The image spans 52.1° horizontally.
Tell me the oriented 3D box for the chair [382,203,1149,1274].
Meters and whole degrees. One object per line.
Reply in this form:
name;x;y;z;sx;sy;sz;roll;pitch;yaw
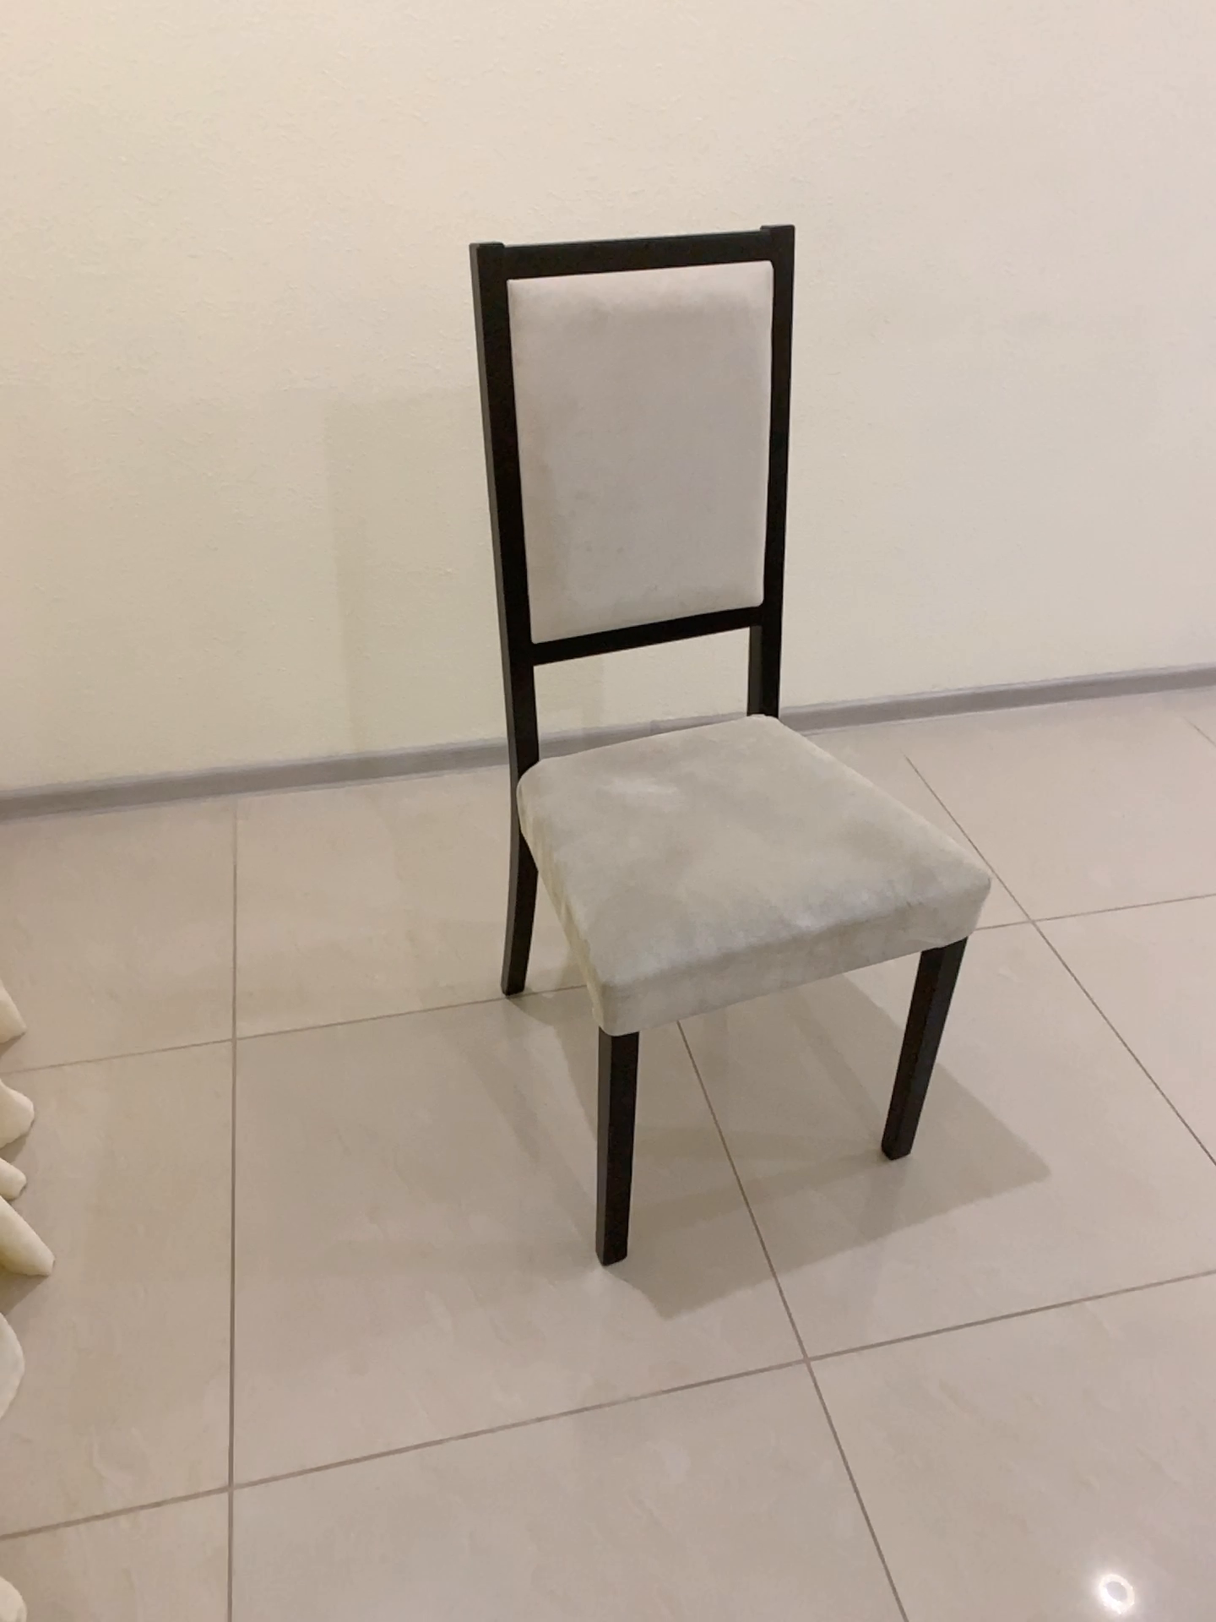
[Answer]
chair;0.107;-0.073;1.362;0.480;0.964;0.513;-14;38;-17
